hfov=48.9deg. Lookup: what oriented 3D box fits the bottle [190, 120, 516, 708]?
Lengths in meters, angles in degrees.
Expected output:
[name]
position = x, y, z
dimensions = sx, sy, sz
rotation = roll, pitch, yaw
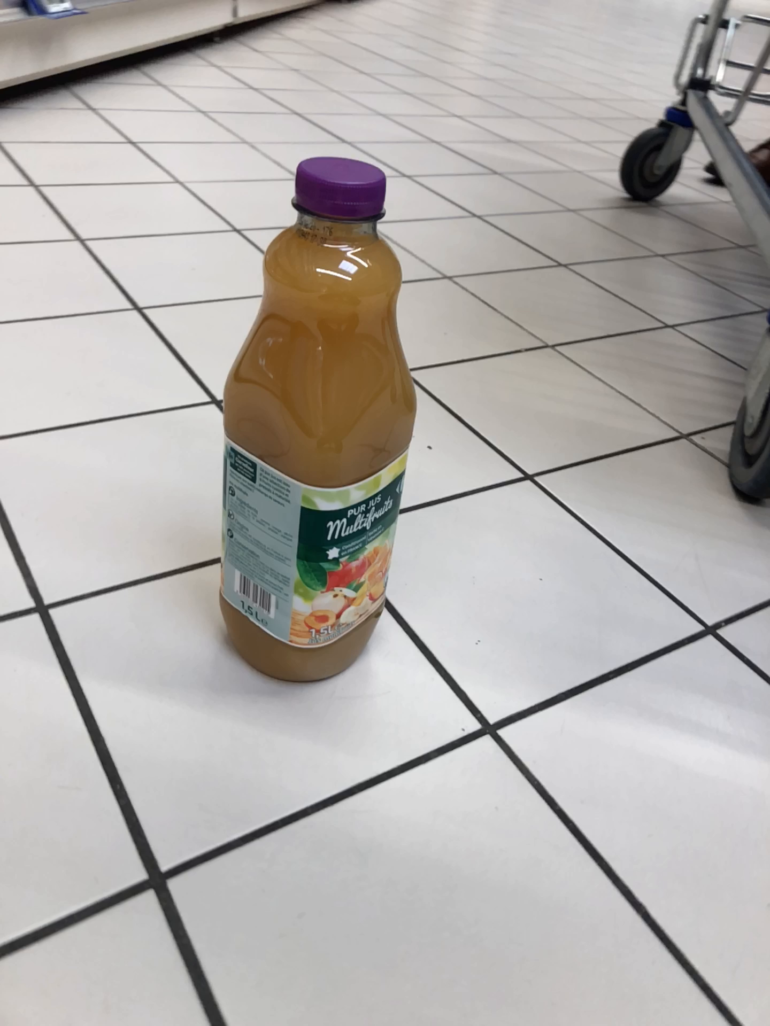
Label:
[bottle]
position = -0.030, -0.046, 0.452
dimensions = 0.100, 0.278, 0.101
rotation = 7, 34, -5
